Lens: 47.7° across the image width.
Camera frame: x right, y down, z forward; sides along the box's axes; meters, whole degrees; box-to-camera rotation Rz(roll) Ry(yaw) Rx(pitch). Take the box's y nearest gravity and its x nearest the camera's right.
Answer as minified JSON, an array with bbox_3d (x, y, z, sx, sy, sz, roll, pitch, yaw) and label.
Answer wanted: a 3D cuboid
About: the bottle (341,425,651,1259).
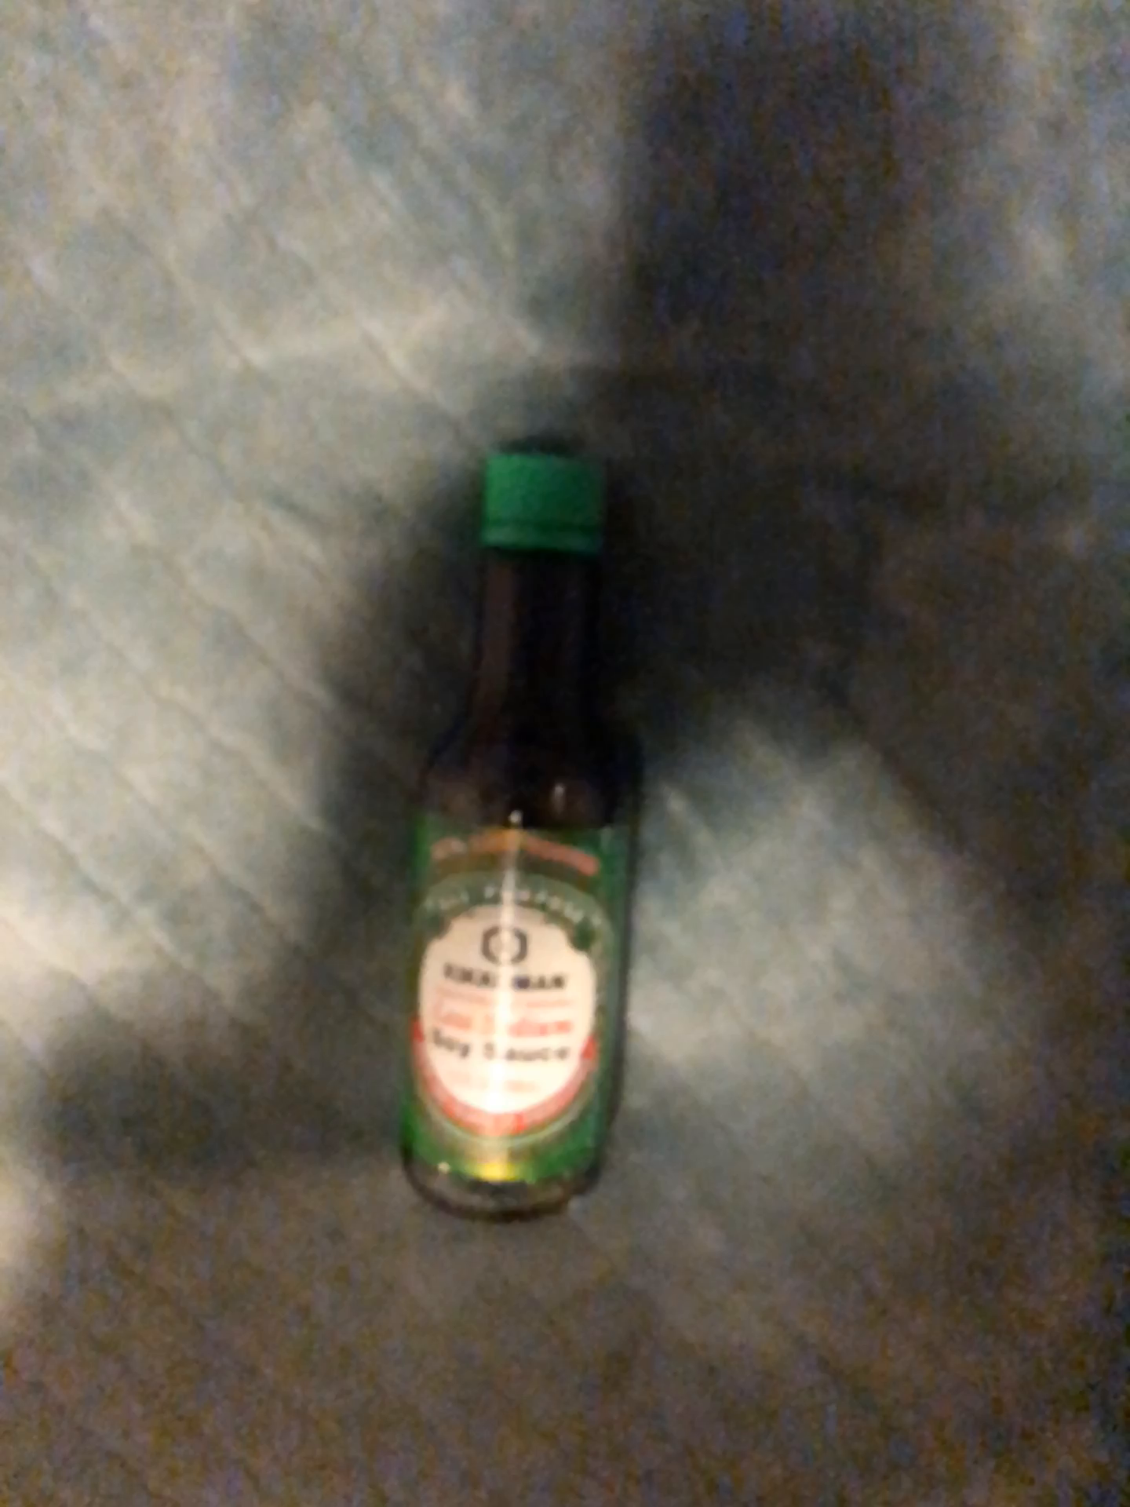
[{"bbox_3d":[-0.019,0.023,0.350,0.070,0.060,0.210,3,98,1],"label":"bottle"}]
